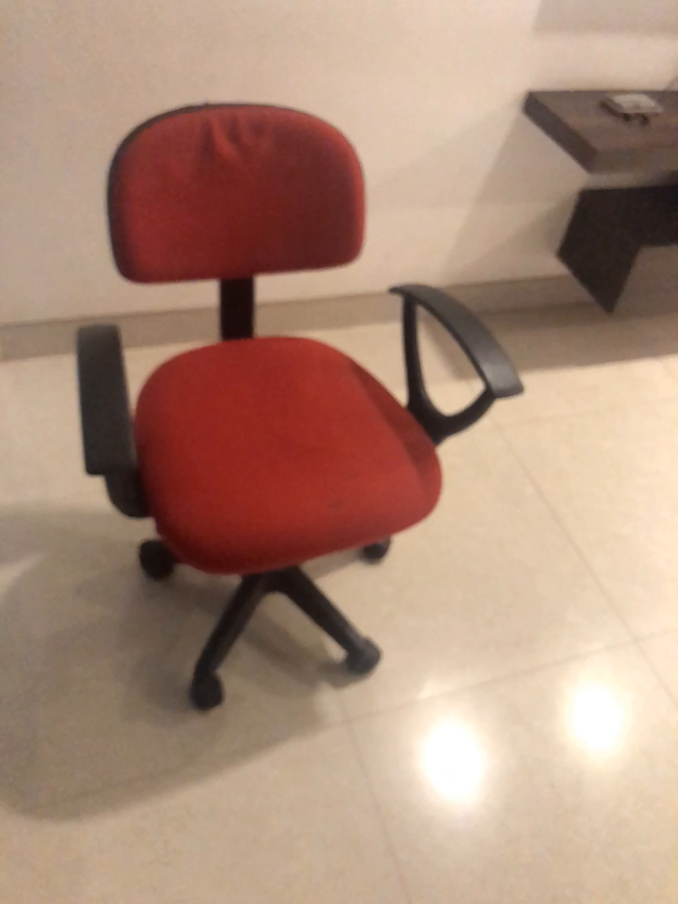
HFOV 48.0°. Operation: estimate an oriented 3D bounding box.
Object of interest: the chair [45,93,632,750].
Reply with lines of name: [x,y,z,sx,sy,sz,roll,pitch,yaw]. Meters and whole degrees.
chair: [-0.082,-0.055,1.180,0.541,0.725,0.603,-11,49,-19]
